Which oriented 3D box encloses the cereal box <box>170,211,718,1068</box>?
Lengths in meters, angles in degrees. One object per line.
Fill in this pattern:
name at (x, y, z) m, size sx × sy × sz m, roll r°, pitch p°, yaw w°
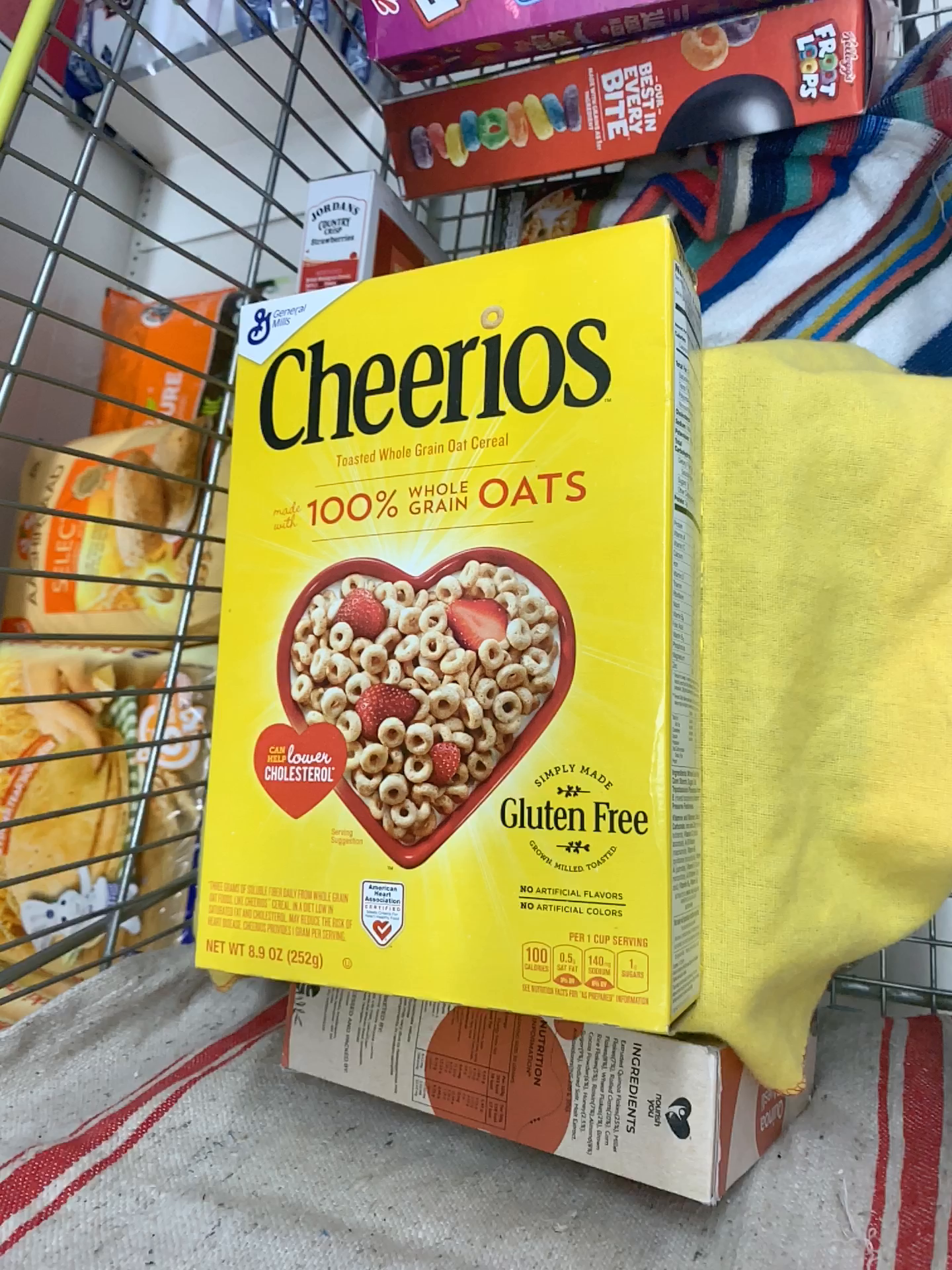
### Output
cereal box at (-0.011, 0.001, 0.372) m, size 0.191 × 0.060 × 0.270 m, roll -2°, pitch 80°, yaw 25°
